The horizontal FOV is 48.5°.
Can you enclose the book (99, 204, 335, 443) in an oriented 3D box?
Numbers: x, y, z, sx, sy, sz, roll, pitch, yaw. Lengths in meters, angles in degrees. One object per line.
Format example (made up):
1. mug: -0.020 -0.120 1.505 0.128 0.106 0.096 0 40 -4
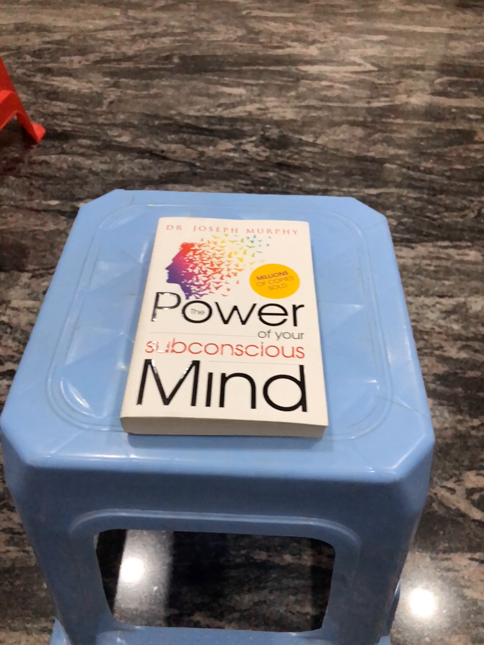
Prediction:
1. book: -0.014 -0.011 0.394 0.140 0.030 0.201 1 50 0
